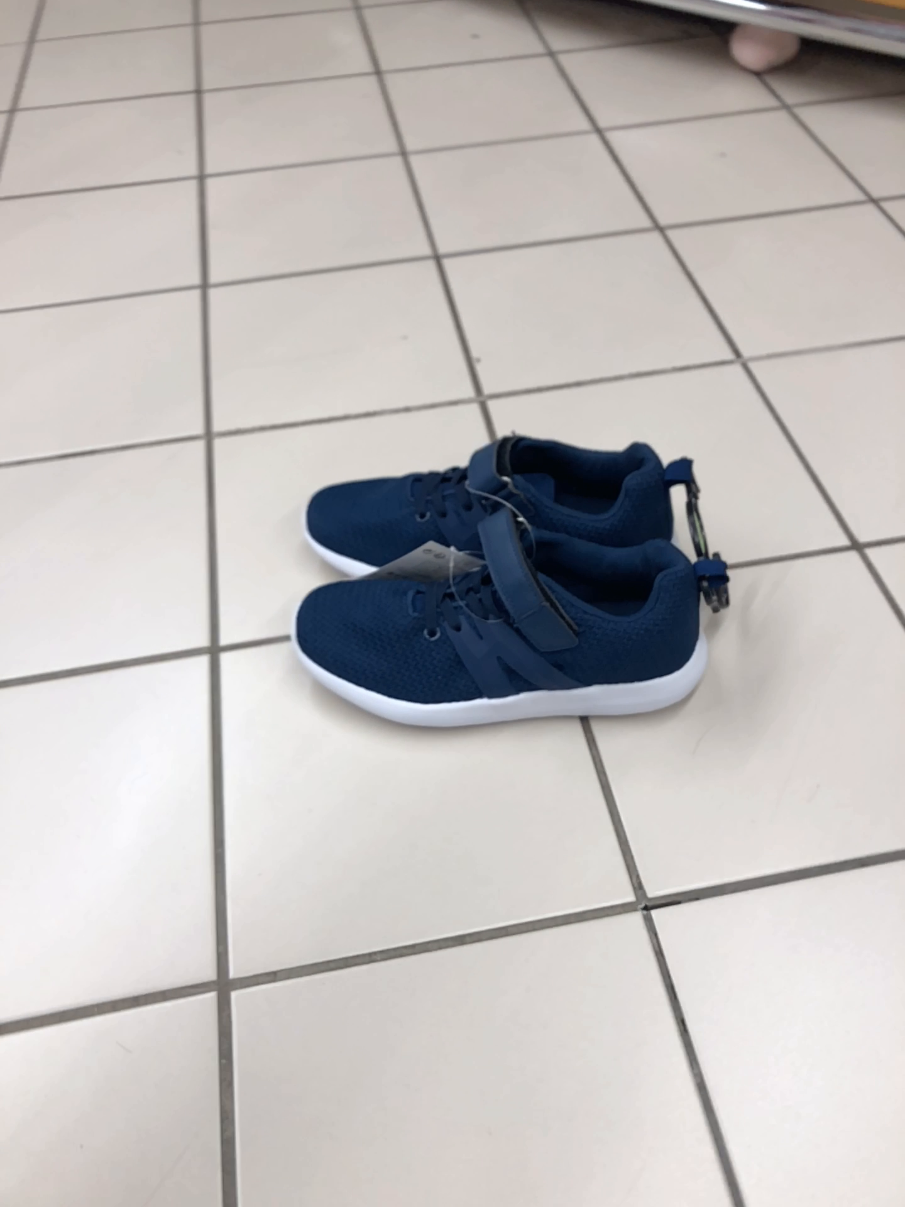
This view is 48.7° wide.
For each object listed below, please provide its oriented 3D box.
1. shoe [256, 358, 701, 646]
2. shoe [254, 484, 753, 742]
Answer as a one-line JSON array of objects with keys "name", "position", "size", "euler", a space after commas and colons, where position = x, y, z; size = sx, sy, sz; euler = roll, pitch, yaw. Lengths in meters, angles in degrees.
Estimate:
[{"name": "shoe", "position": [0.019, -0.064, 0.606], "size": [0.236, 0.094, 0.103], "euler": [10, 50, 11]}, {"name": "shoe", "position": [0.025, 0.006, 0.542], "size": [0.238, 0.095, 0.094], "euler": [-2, 49, 1]}]
